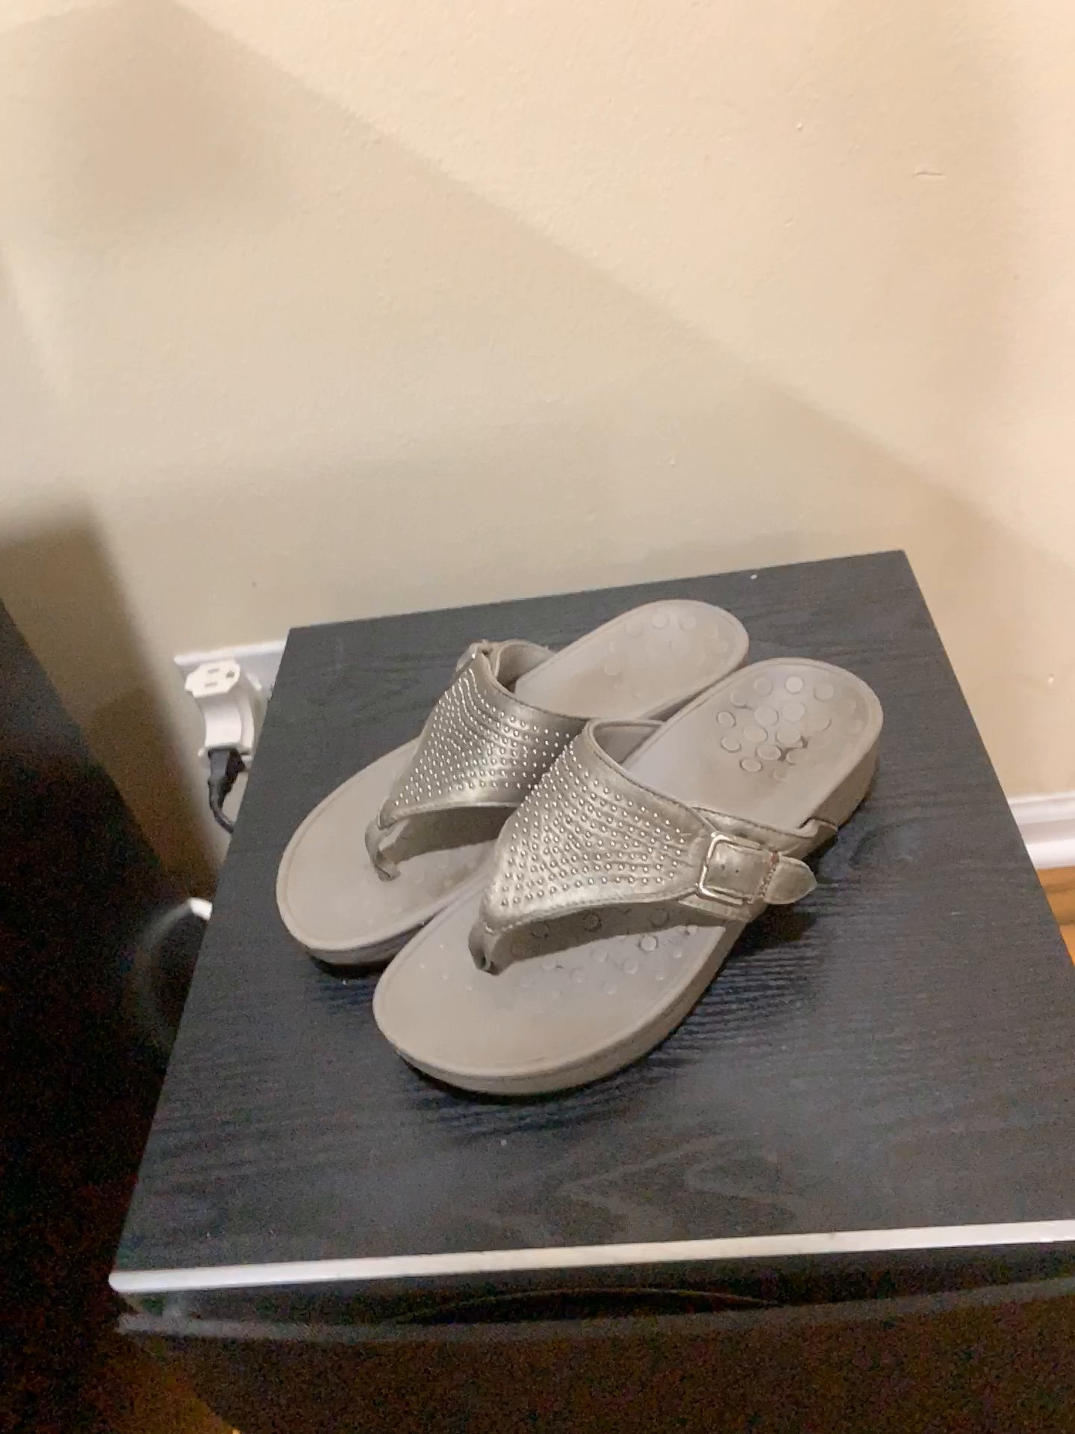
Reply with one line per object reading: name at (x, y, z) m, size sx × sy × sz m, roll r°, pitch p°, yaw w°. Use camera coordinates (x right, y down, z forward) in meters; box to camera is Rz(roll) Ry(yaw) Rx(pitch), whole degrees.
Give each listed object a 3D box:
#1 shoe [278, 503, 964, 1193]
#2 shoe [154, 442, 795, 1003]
shoe at (0.044, 0.030, 0.414) m, size 0.108 × 0.080 × 0.248 m, roll 28°, pitch 56°, yaw 35°
shoe at (-0.015, -0.012, 0.471) m, size 0.248 × 0.080 × 0.108 m, roll -35°, pitch 47°, yaw -23°
